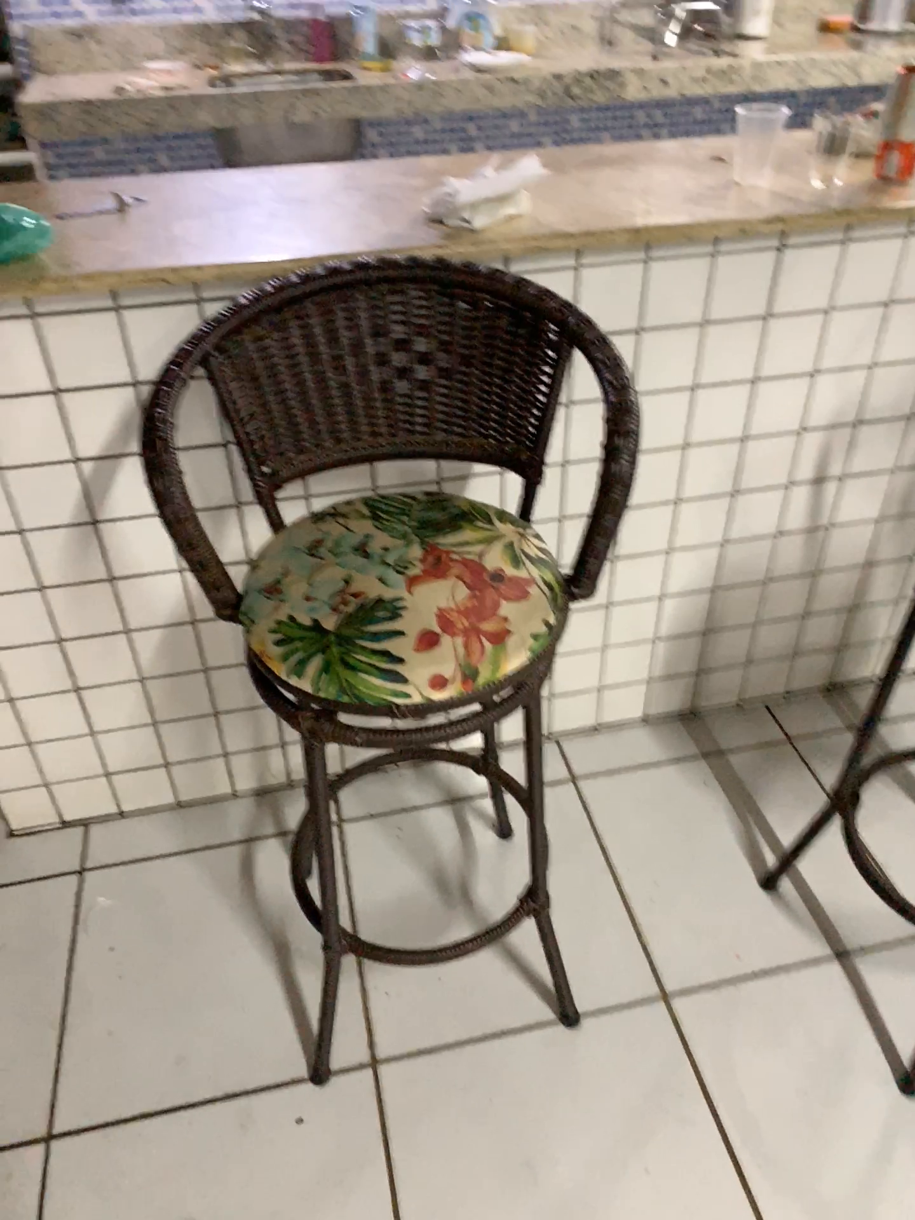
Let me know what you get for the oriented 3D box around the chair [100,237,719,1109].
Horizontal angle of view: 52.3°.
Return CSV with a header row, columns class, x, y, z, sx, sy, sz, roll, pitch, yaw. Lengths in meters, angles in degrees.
class,x,y,z,sx,sy,sz,roll,pitch,yaw
chair,-0.075,0.104,1.241,0.500,0.974,0.533,-9,38,-10
